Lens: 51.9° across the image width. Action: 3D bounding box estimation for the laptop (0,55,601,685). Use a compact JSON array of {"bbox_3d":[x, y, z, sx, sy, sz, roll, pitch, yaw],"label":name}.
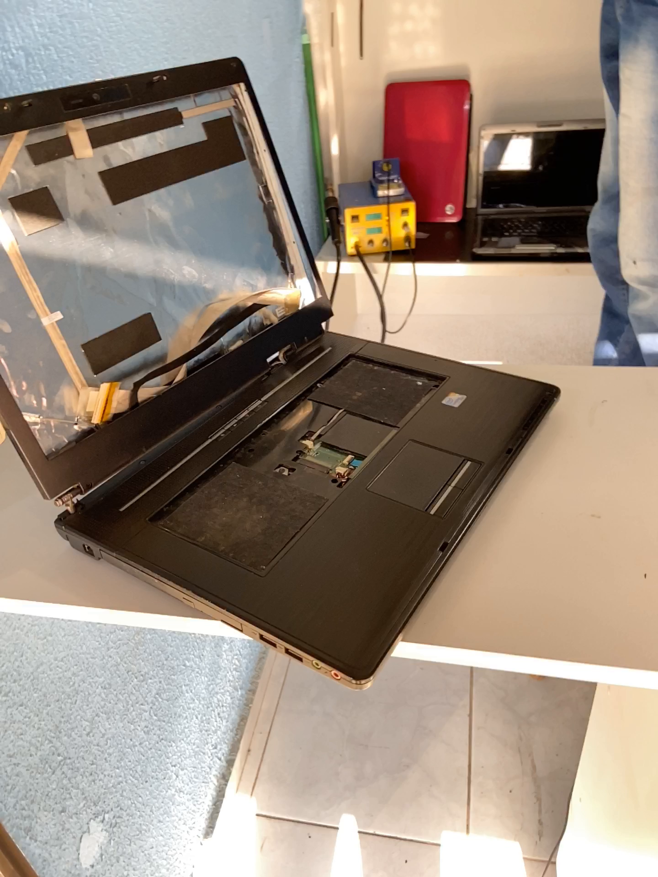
[{"bbox_3d":[-0.040,-0.113,0.507,0.350,0.261,0.354,18,41,30],"label":"laptop"}]
